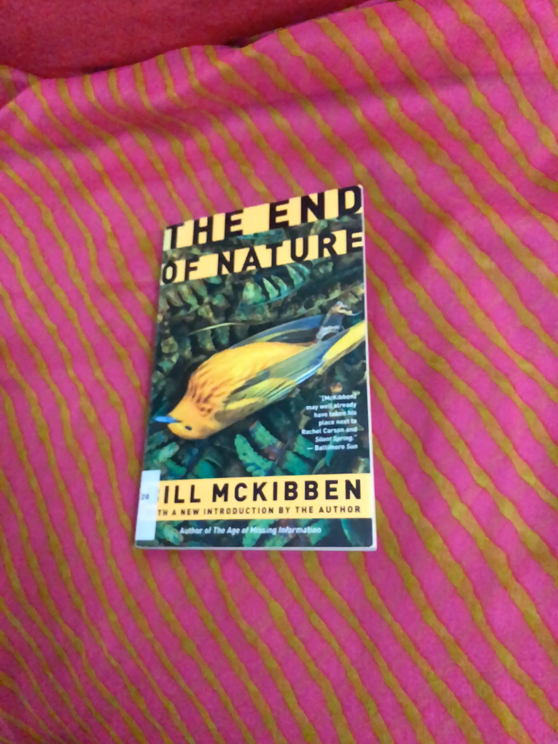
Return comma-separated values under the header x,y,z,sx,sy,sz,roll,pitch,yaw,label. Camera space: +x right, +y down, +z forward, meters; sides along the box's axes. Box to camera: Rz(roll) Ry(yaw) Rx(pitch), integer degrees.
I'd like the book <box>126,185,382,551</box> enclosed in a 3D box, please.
x,y,z,sx,sy,sz,roll,pitch,yaw,label
-0.014,-0.003,0.344,0.132,0.020,0.194,-5,73,17,book
